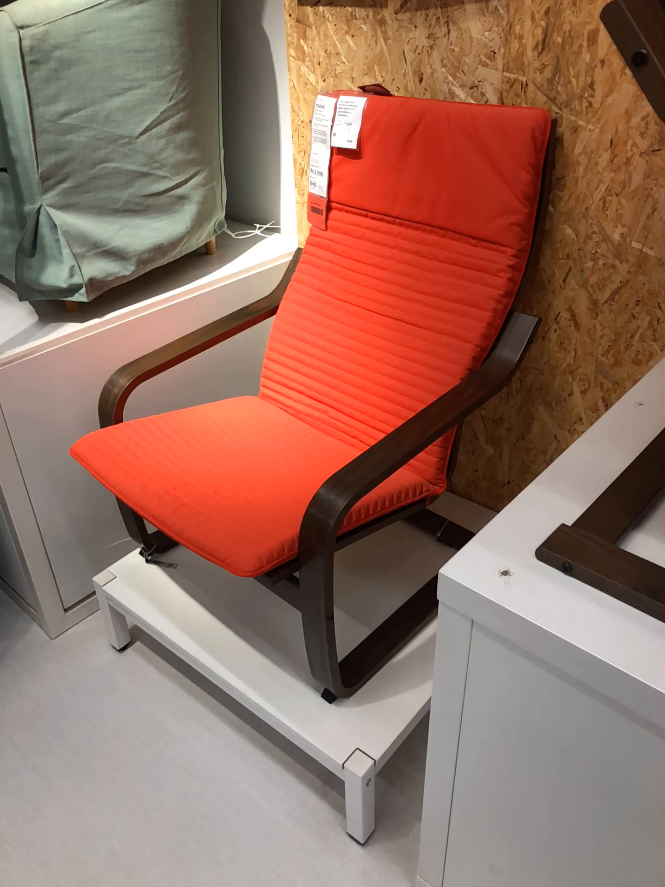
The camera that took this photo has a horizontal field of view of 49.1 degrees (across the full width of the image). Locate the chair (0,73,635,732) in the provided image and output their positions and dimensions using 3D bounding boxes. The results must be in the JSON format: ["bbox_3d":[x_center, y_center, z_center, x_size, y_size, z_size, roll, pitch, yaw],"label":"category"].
[{"bbox_3d":[-0.014,-0.181,1.466,0.753,0.894,0.793,26,42,36],"label":"chair"}]
